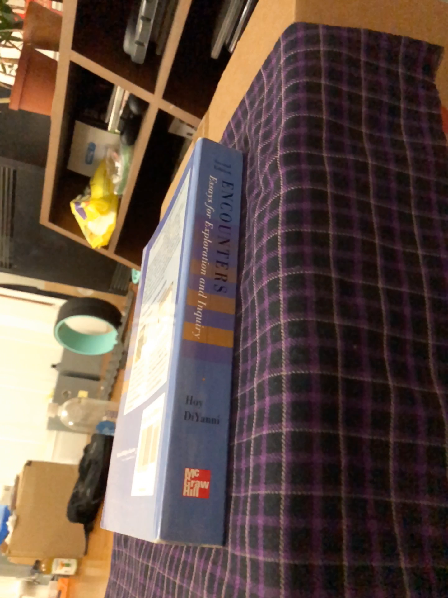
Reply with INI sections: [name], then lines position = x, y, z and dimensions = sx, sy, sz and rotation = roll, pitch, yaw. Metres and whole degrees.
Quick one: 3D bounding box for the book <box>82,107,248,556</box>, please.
[book]
position = -0.043, 0.030, 0.334
dimensions = 0.180, 0.040, 0.240
rotation = 132, 146, -59
